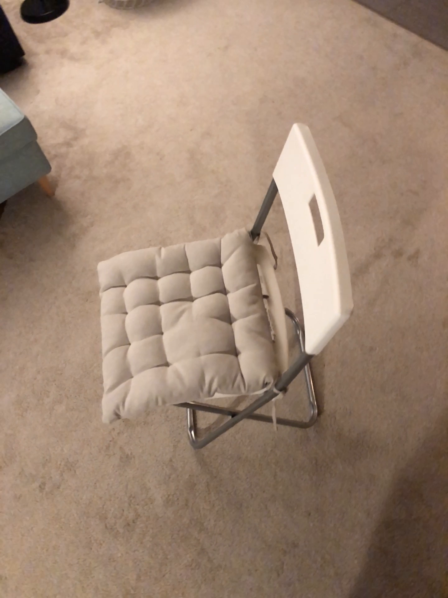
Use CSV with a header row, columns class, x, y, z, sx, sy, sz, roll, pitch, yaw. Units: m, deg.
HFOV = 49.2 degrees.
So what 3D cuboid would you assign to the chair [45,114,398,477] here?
class,x,y,z,sx,sy,sz,roll,pitch,yaw
chair,0.008,0.056,1.154,0.540,0.668,0.512,-9,60,4
